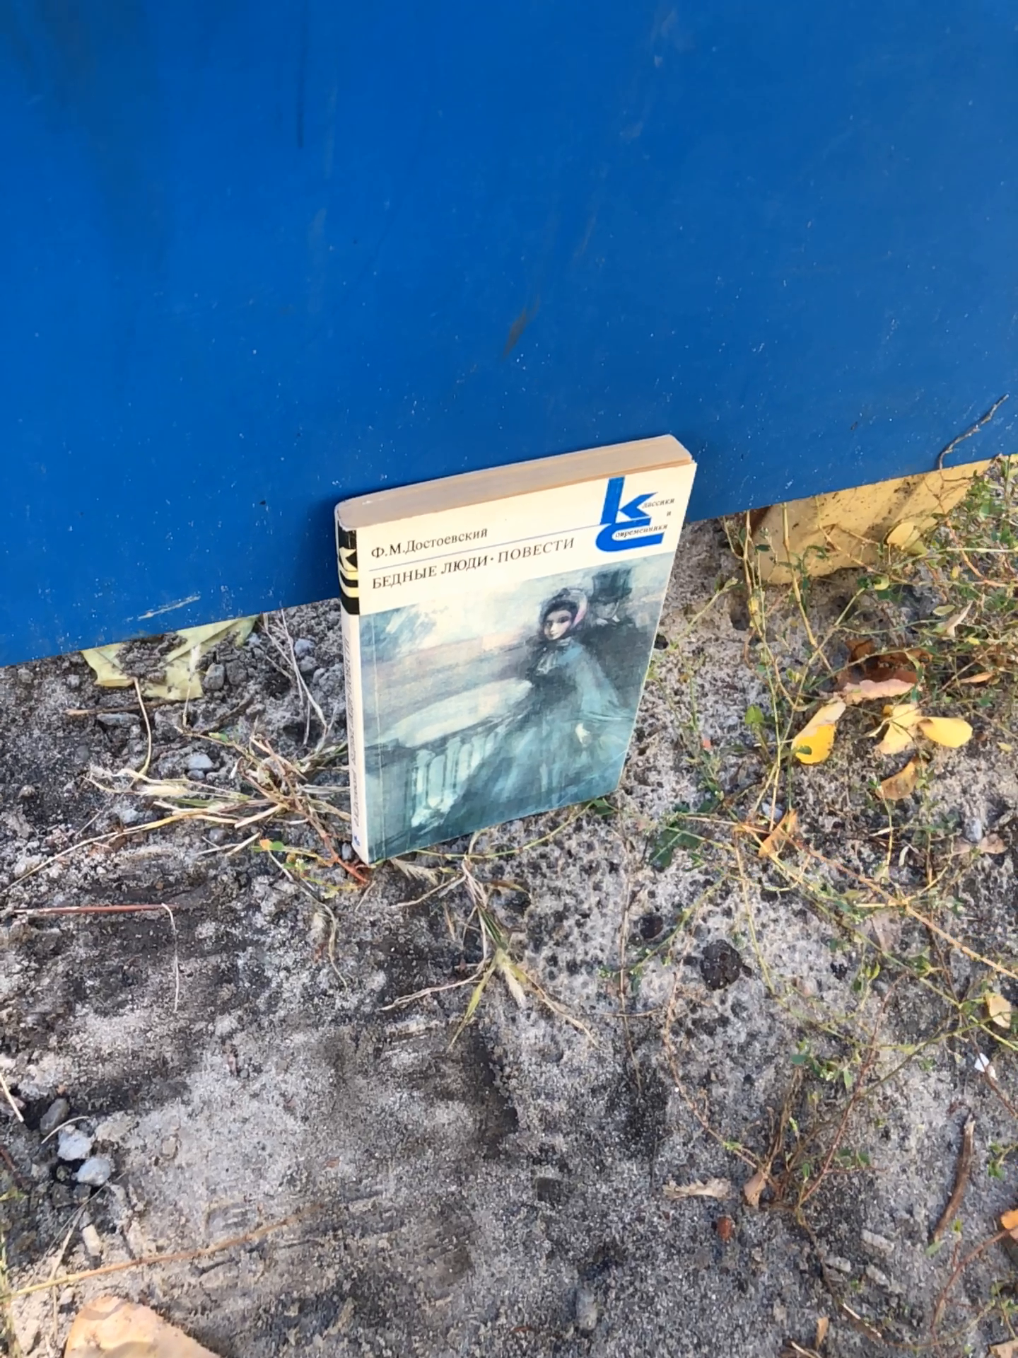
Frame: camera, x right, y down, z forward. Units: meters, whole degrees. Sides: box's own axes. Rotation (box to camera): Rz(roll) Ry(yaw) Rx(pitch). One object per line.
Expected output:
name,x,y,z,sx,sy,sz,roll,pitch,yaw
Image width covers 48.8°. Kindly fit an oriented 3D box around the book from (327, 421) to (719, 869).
book,0.000,-0.004,0.435,0.127,0.187,0.026,-14,52,-17
